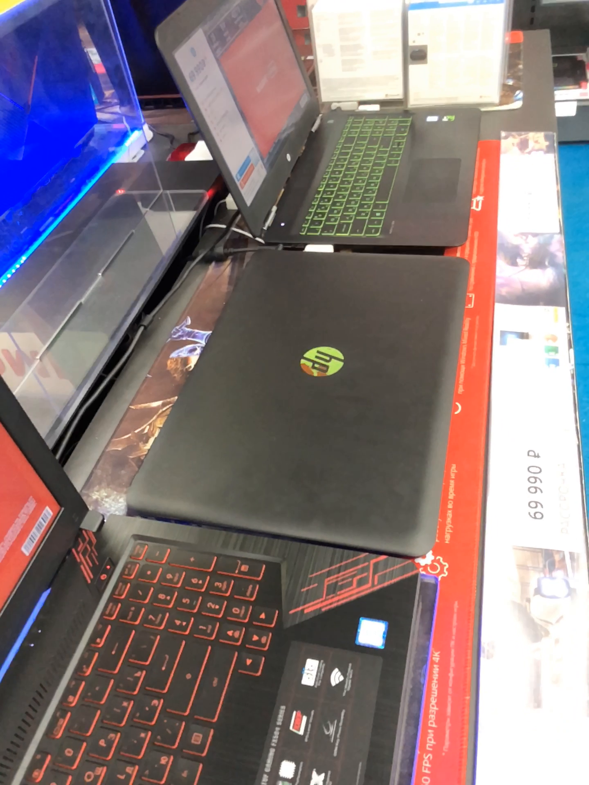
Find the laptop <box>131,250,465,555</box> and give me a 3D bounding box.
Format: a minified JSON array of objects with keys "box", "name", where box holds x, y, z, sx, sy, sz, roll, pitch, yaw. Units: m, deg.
[{"box":[0.030,-0.025,0.613,0.233,0.012,0.367,6,45,14],"name":"laptop"}]
